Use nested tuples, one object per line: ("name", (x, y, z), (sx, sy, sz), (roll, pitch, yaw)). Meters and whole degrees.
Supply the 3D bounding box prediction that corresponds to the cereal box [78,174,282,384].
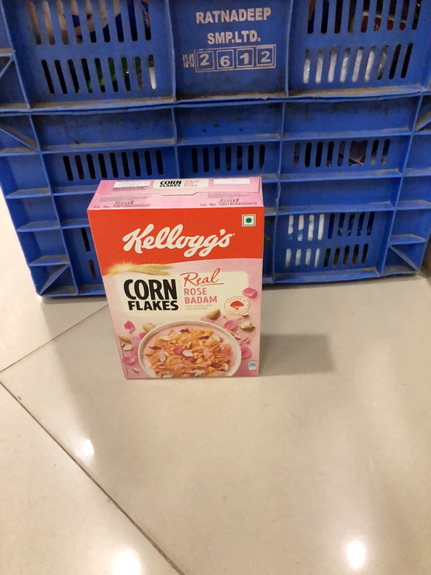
("cereal box", (-0.030, 0.002, 0.576), (0.200, 0.258, 0.070), (-2, 39, 1))
